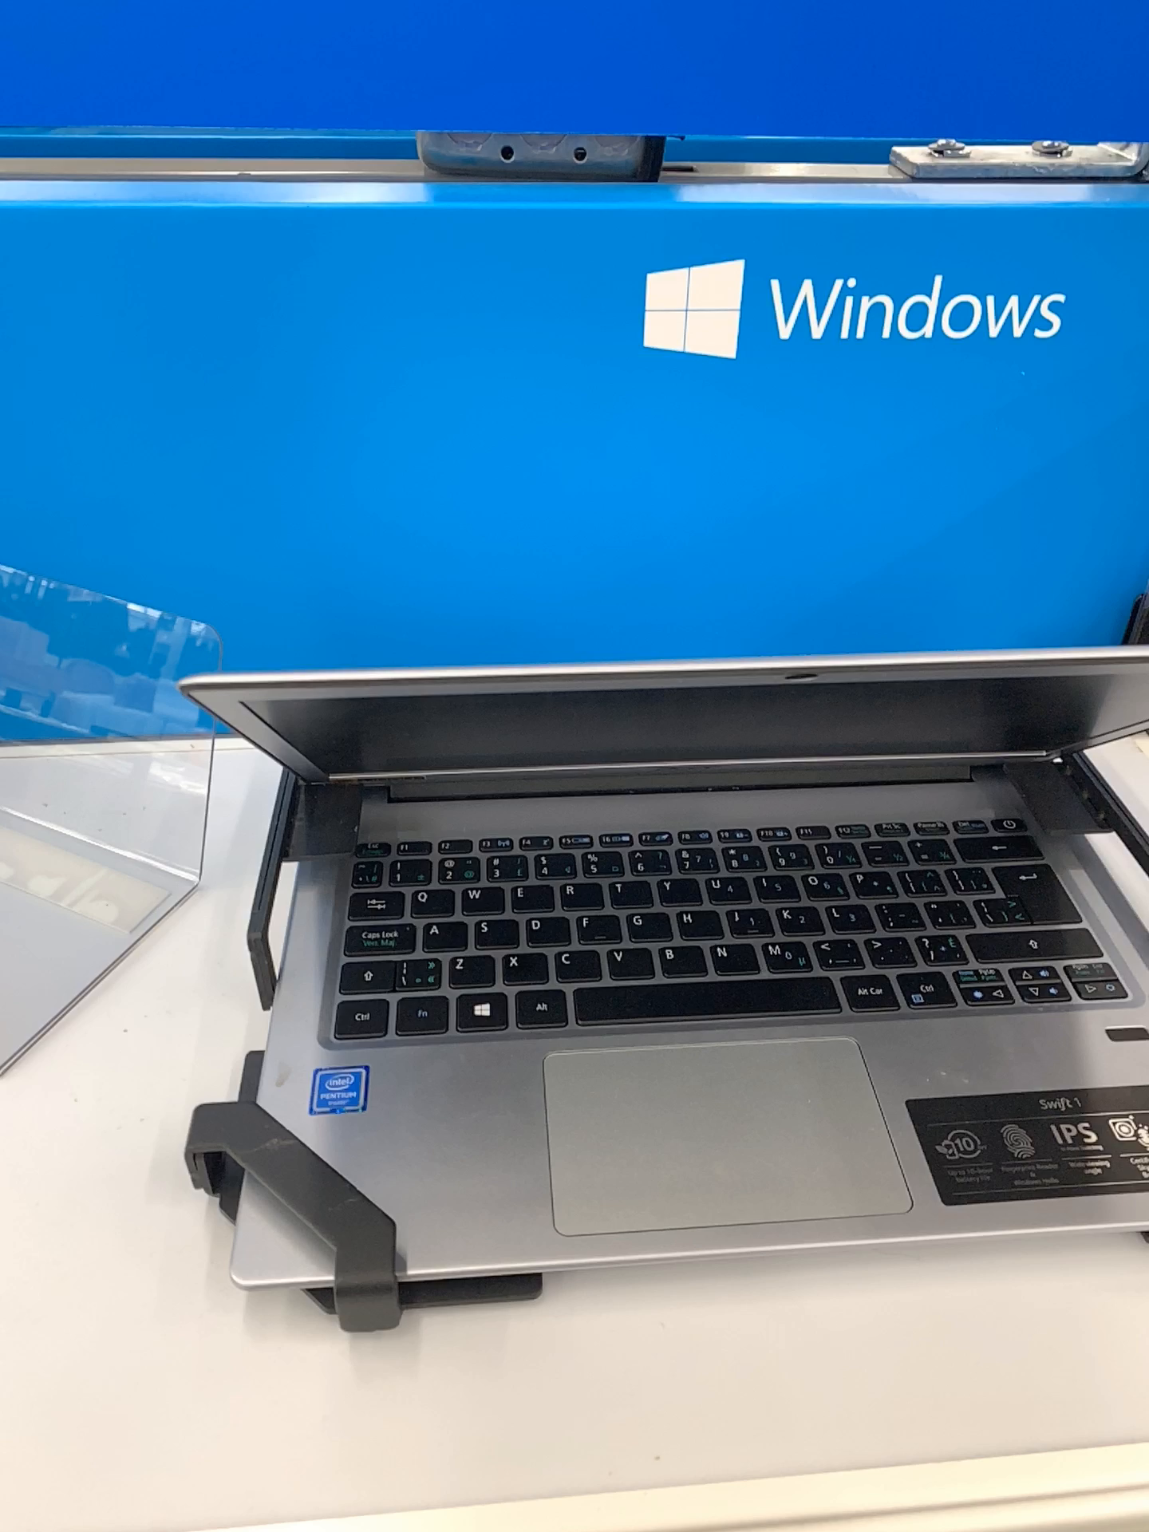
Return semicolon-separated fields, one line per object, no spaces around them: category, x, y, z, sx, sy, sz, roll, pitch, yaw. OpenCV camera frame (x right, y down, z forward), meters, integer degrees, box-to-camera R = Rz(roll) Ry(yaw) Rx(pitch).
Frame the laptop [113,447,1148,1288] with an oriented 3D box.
laptop;0.053;0.011;0.365;0.305;0.141;0.214;-2;36;-5
